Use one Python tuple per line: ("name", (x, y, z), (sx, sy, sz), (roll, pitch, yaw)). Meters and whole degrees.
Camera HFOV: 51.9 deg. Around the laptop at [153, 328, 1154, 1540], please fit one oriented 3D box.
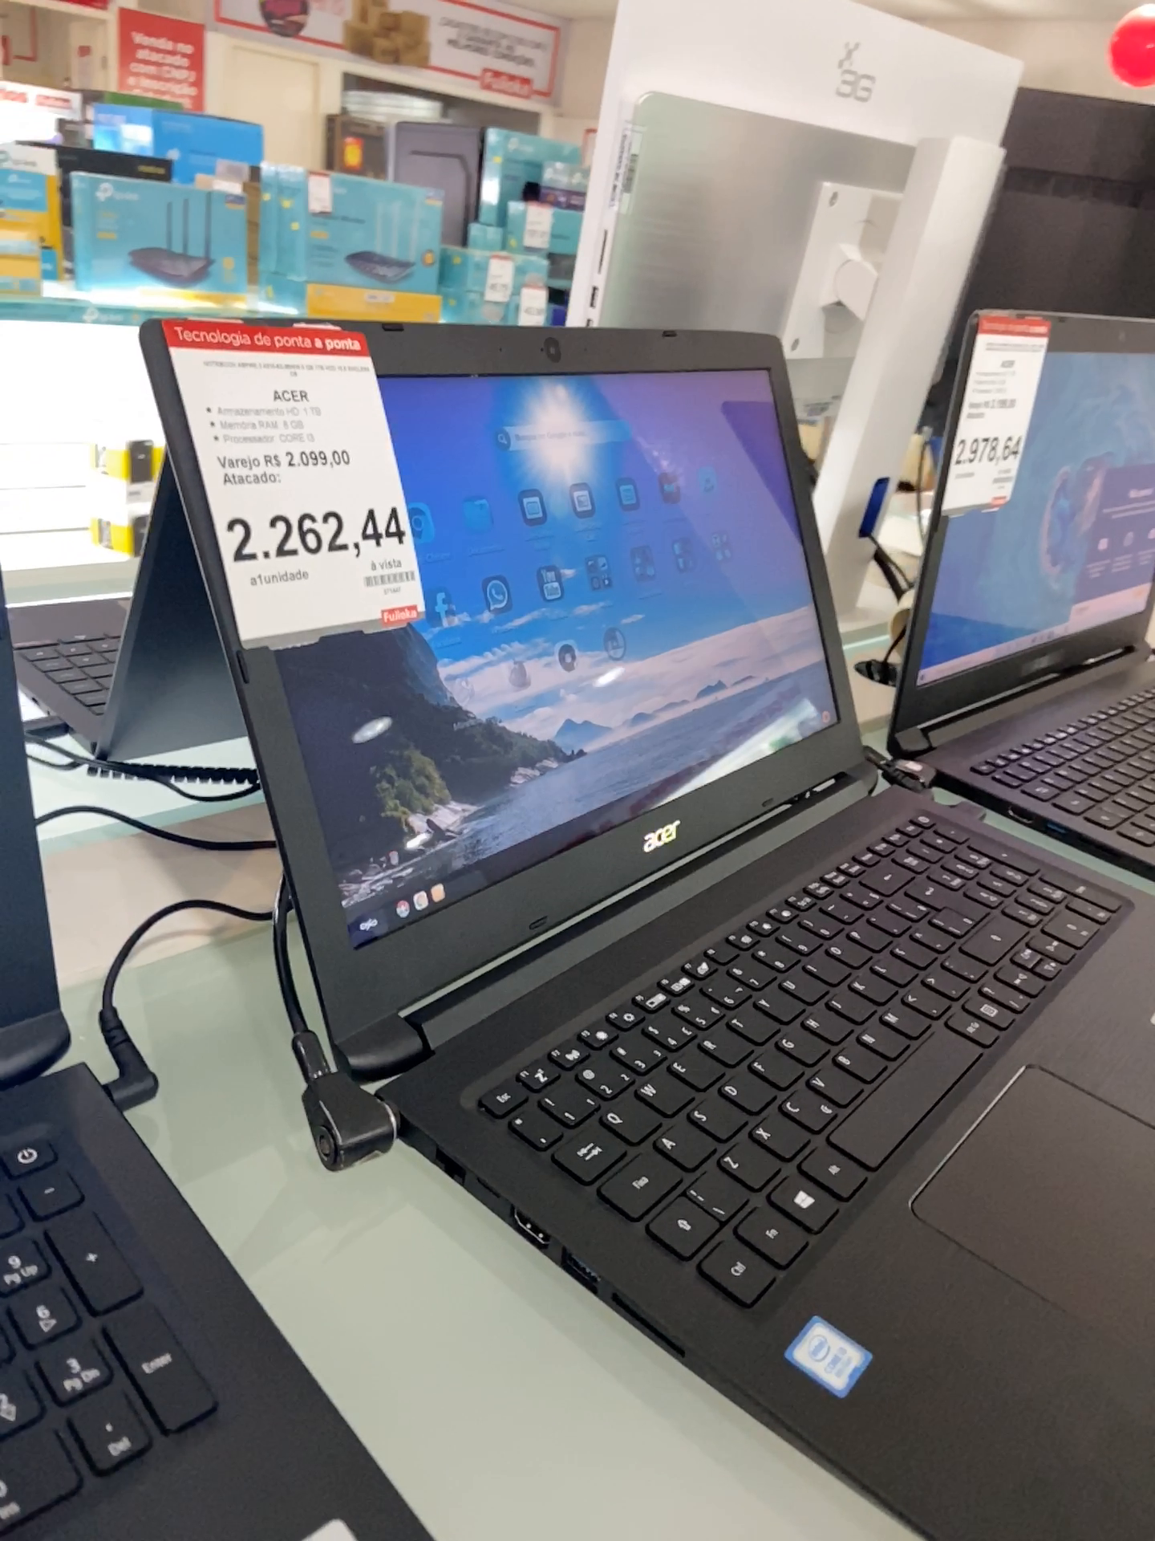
("laptop", (0.117, -0.021, 0.463), (0.375, 0.226, 0.391), (25, 30, 34))
